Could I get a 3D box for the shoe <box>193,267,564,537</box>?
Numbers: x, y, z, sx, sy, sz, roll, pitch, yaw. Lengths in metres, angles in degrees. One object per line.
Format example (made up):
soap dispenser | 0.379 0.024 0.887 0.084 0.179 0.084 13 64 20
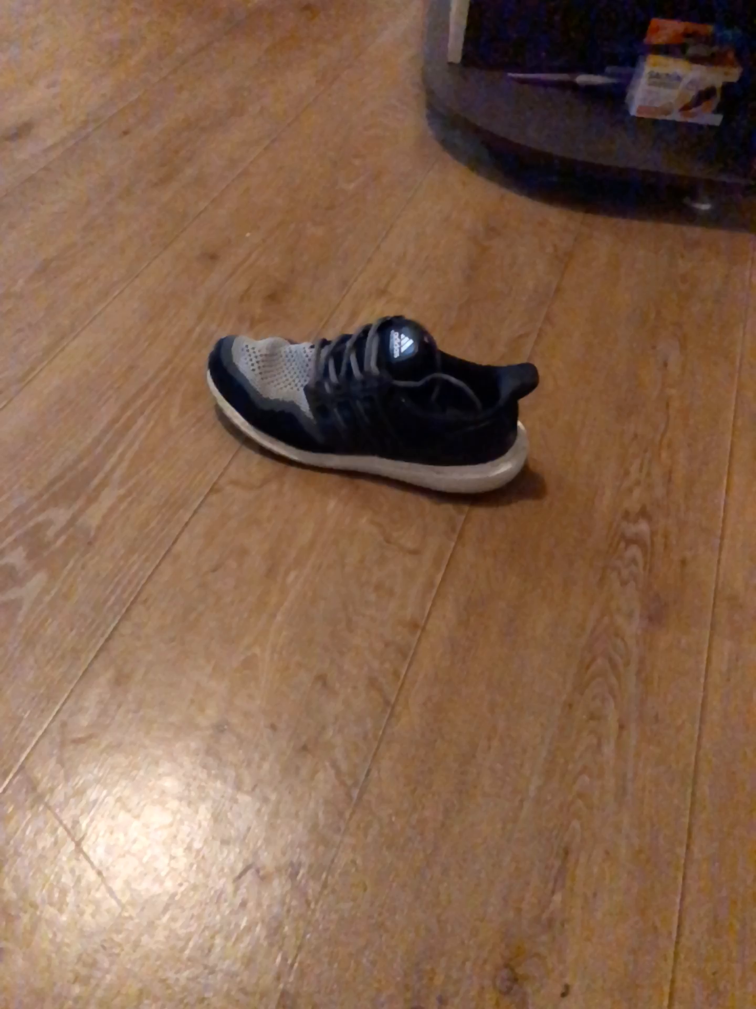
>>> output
shoe | -0.001 -0.088 0.687 0.270 0.099 0.114 19 50 9
